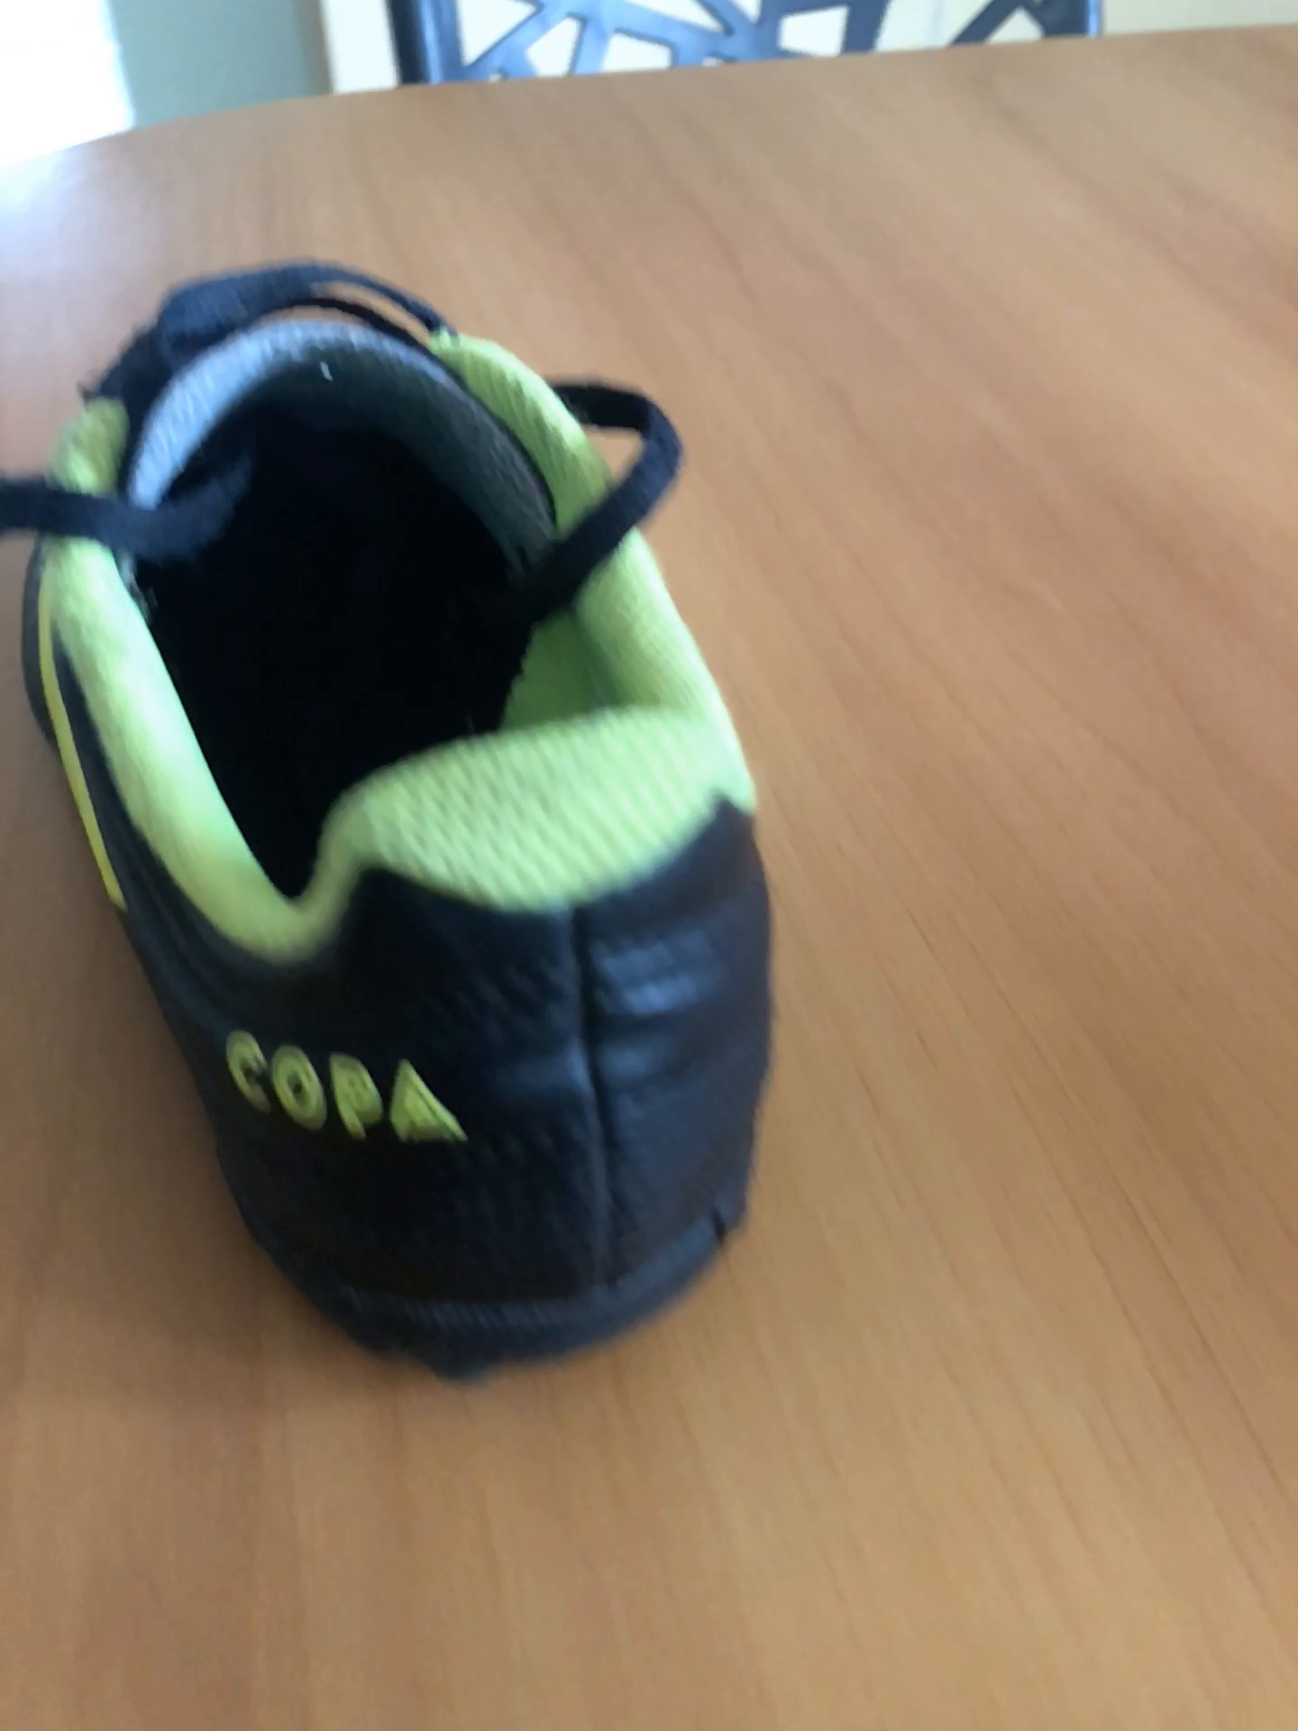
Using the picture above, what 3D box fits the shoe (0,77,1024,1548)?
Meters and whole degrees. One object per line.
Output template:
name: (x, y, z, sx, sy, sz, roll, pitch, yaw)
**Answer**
shoe: (-0.052, -0.037, 0.222, 0.090, 0.090, 0.221, -17, 46, -17)
